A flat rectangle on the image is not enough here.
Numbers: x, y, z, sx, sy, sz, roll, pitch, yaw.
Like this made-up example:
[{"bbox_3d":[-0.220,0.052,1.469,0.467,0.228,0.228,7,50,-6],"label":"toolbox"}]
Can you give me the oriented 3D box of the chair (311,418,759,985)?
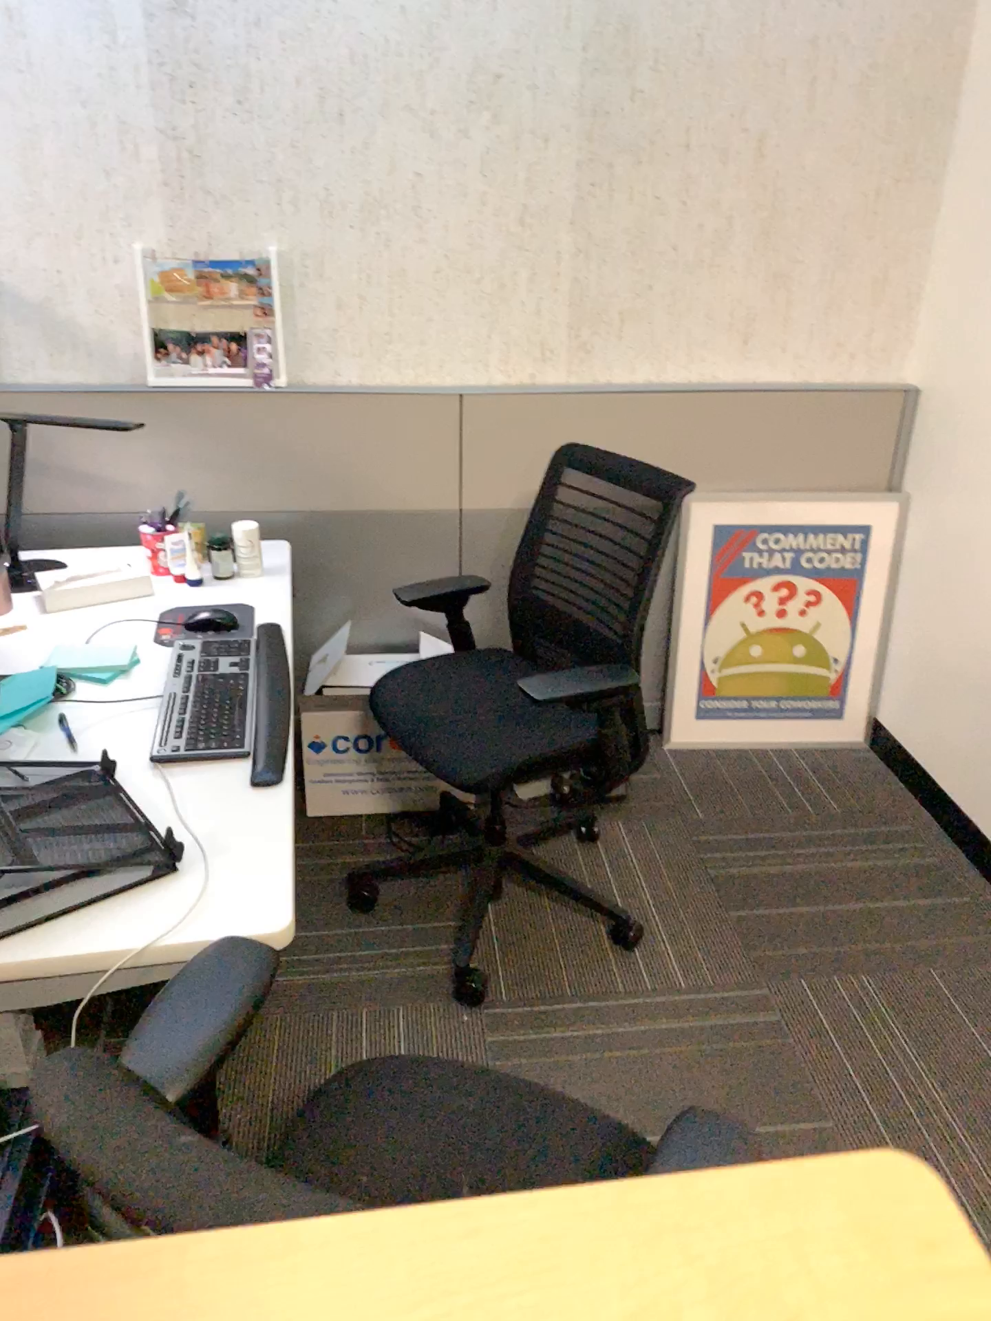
[{"bbox_3d":[0.054,0.032,2.276,0.650,0.955,0.673,-15,30,-31],"label":"chair"}]
